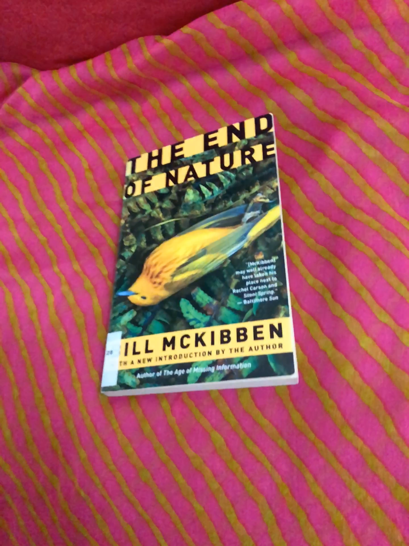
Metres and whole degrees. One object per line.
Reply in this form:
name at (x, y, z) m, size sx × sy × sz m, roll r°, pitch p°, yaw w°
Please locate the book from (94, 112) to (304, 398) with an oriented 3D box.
book at (-0.007, -0.016, 0.321) m, size 0.132 × 0.020 × 0.194 m, roll -9°, pitch 64°, yaw 18°
